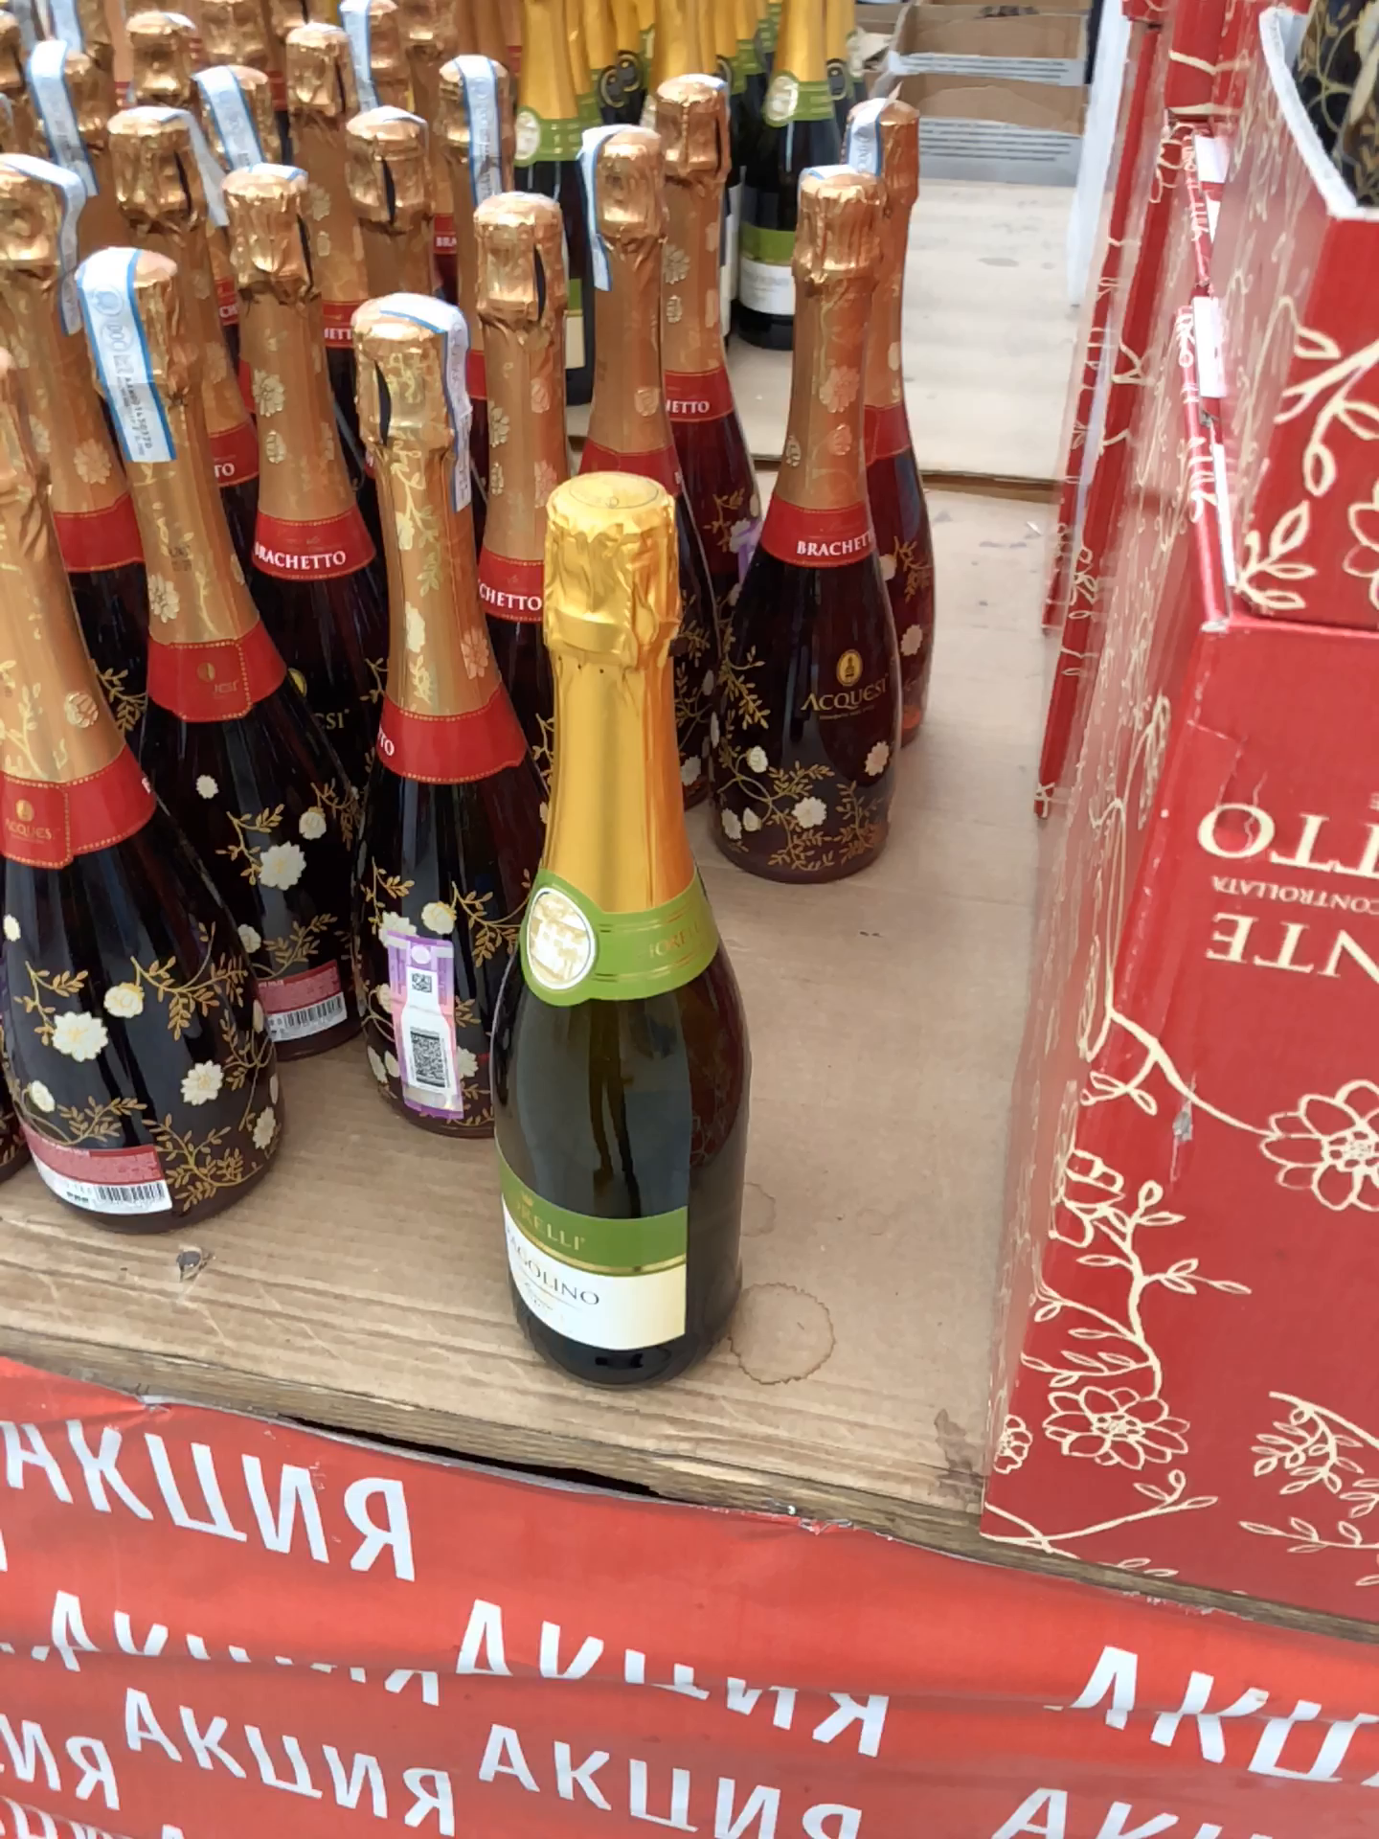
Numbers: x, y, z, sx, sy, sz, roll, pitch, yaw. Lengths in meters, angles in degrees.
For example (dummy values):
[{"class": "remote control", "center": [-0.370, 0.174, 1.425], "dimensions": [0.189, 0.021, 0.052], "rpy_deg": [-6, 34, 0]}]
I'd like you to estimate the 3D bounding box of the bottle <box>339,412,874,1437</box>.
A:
[{"class": "bottle", "center": [-0.021, 0.015, 0.452], "dimensions": [0.090, 0.288, 0.090], "rpy_deg": [0, 39, 0]}]
